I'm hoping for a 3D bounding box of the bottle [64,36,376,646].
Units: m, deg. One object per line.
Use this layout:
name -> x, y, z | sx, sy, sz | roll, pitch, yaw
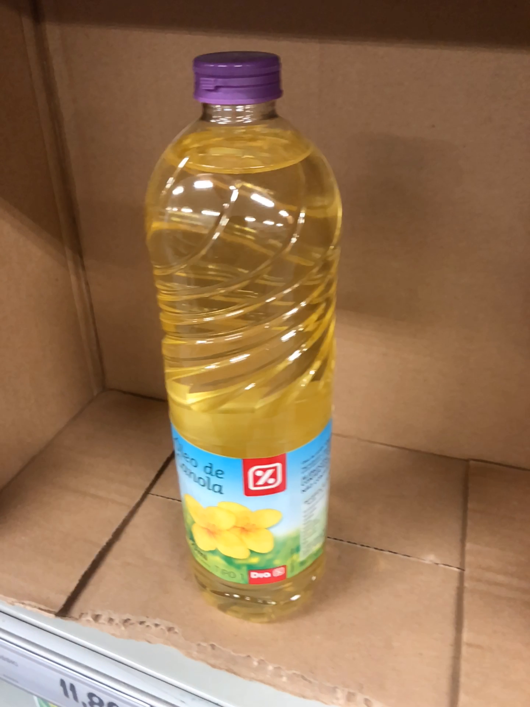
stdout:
bottle -> -0.008, 0.019, 0.255 | 0.080, 0.268, 0.050 | 10, 37, 16
